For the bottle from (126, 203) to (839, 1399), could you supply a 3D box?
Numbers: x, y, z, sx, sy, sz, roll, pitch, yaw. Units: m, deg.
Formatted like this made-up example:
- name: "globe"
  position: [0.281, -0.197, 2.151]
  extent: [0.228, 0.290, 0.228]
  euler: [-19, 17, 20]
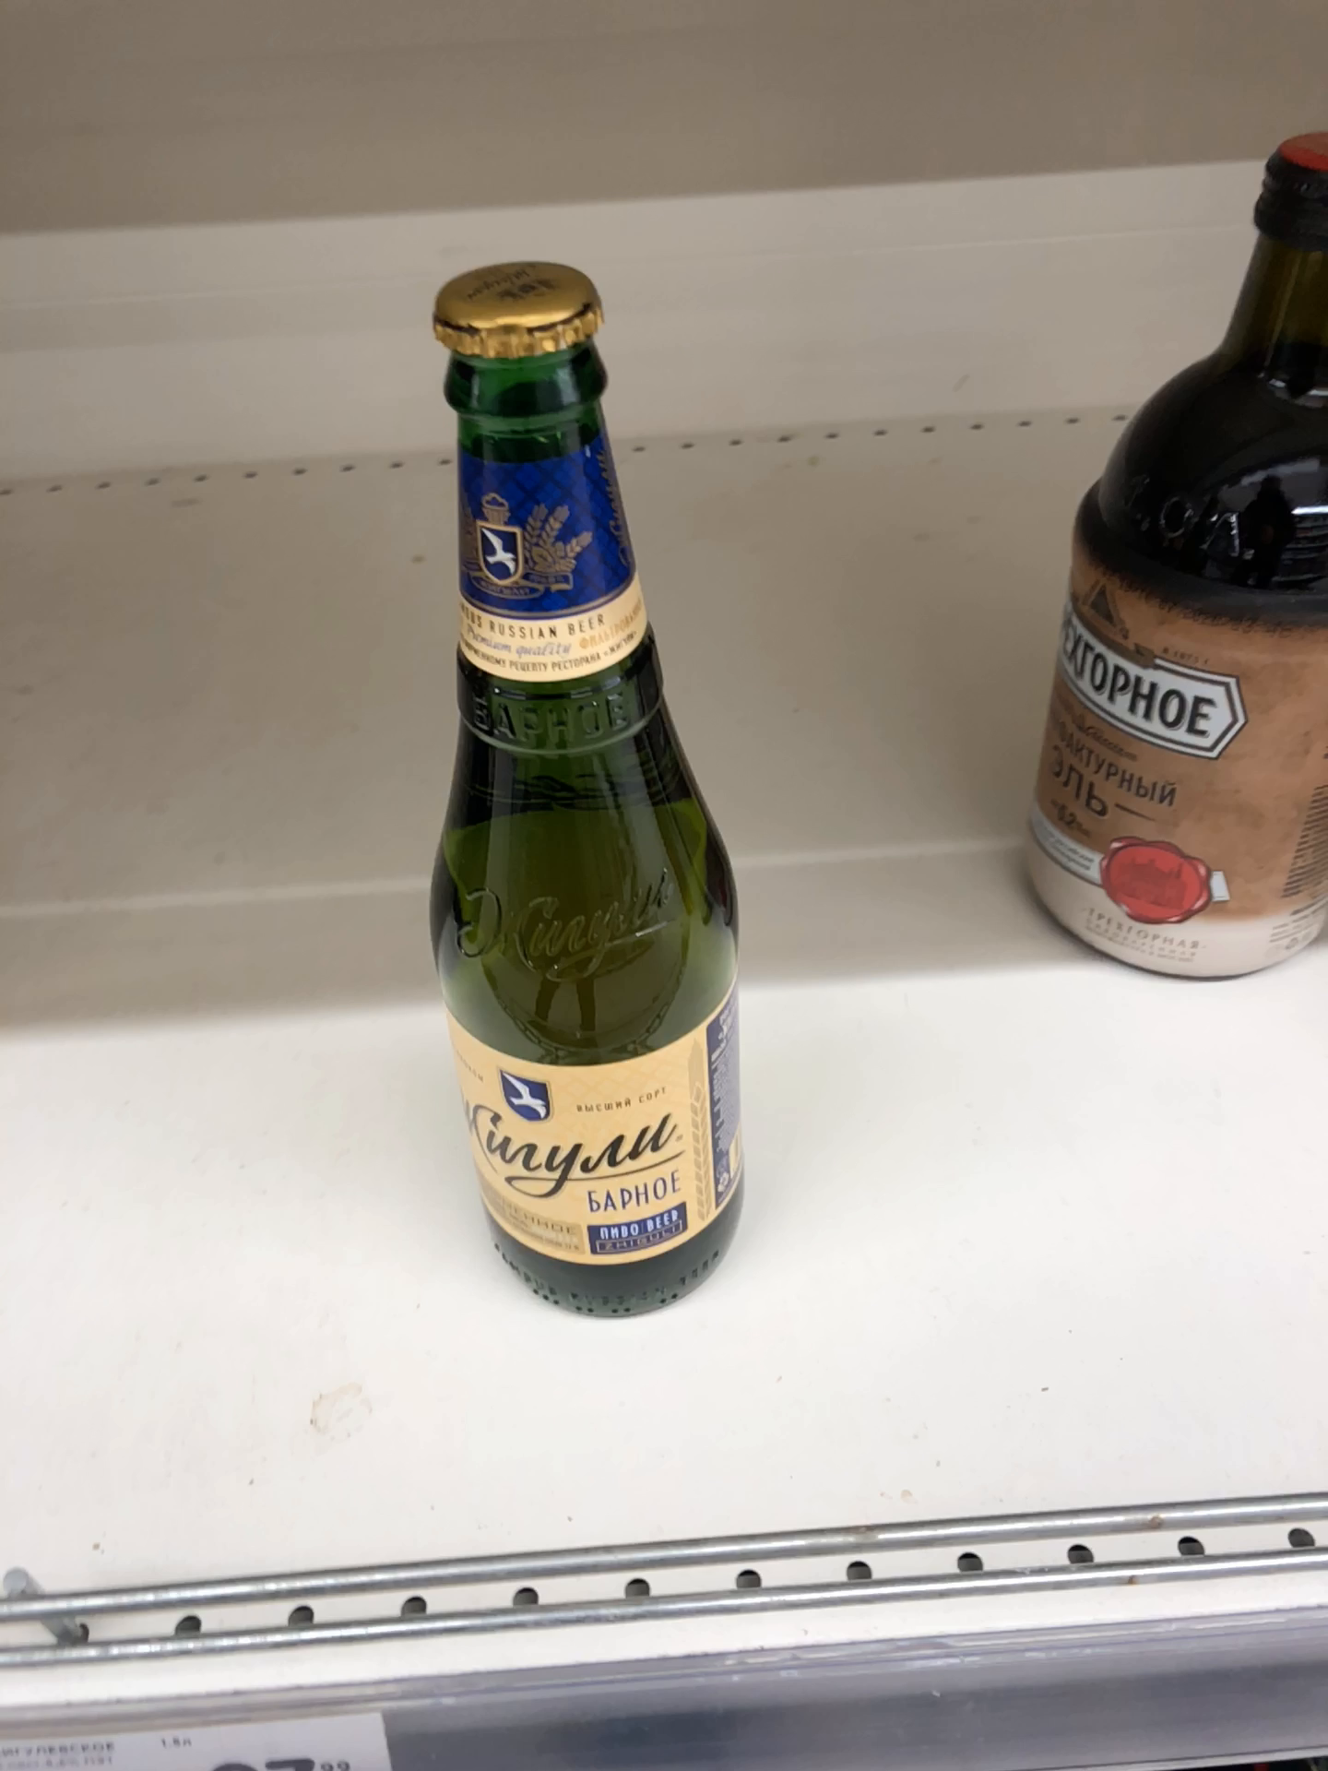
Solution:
- name: "bottle"
  position: [-0.021, -0.002, 0.320]
  extent: [0.090, 0.249, 0.080]
  euler: [12, 43, 16]
